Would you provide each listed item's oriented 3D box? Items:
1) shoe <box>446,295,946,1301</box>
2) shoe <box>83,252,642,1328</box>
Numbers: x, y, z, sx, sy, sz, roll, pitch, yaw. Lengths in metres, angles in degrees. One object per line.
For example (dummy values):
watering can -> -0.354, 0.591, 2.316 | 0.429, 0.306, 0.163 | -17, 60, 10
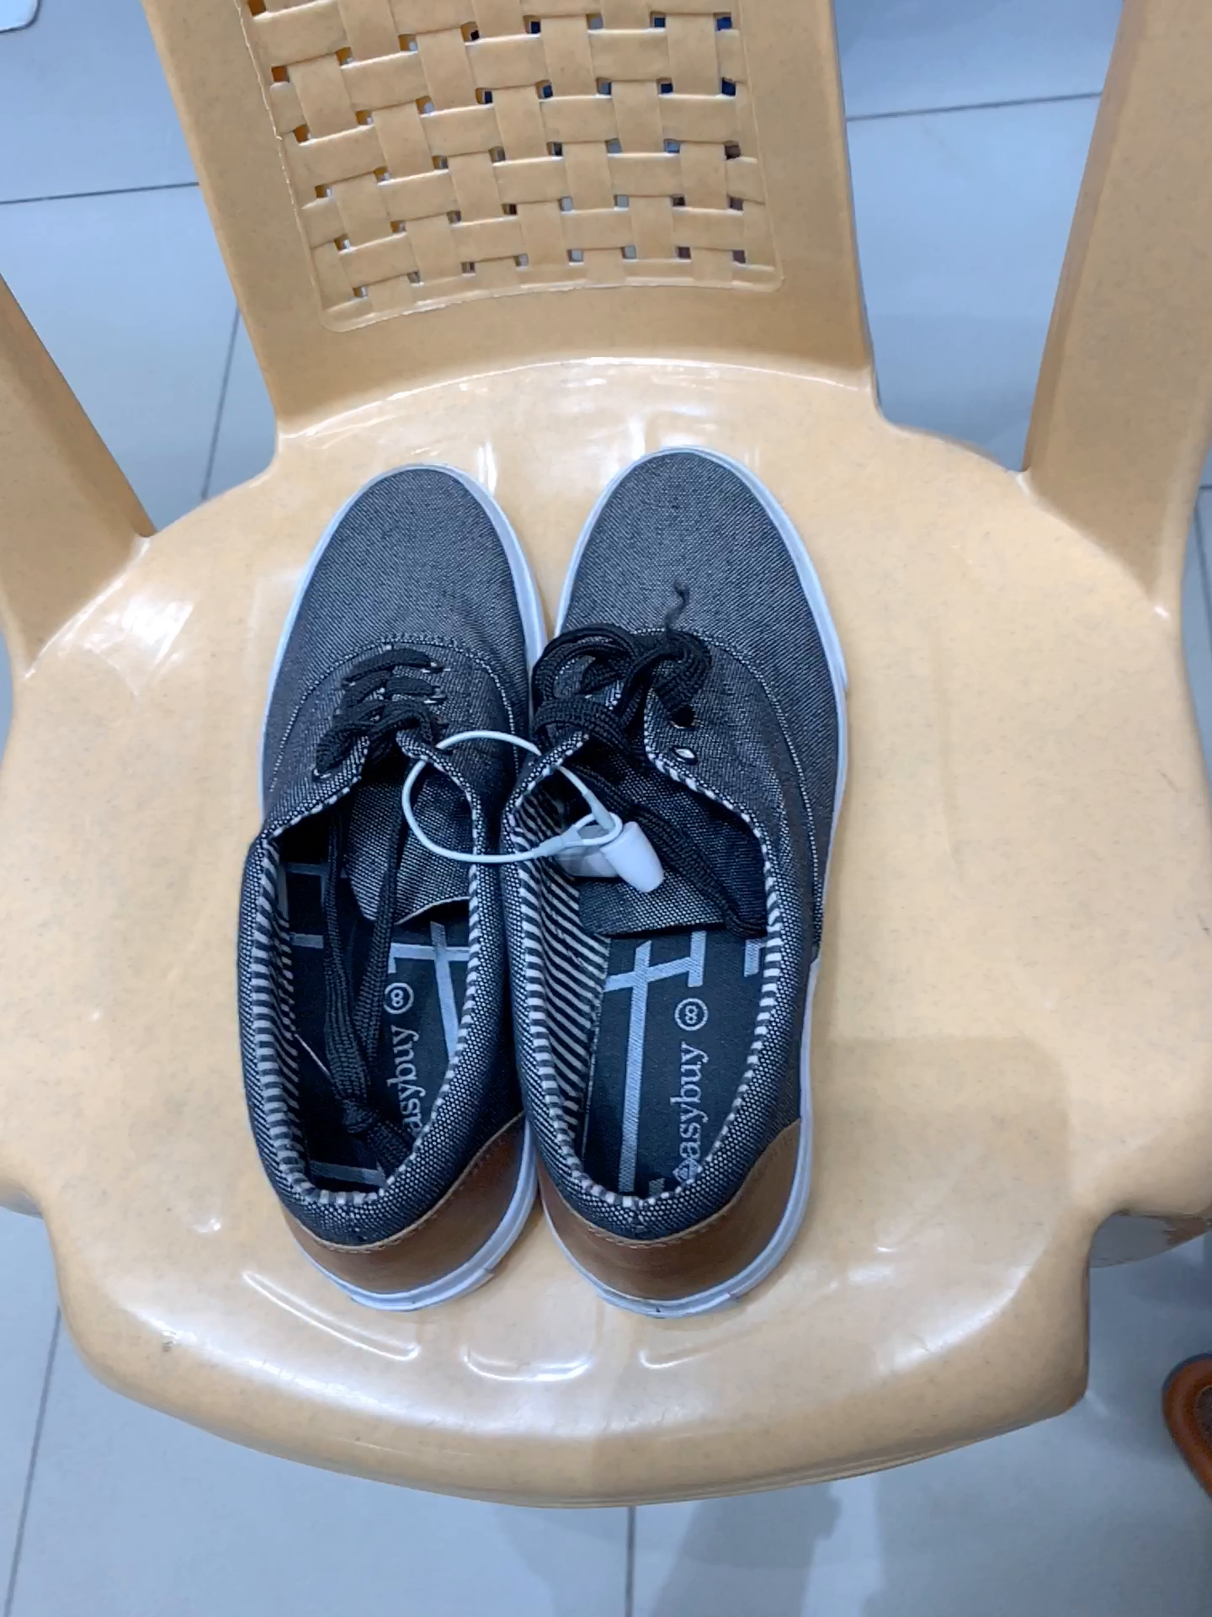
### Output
shoe -> 0.025, 0.000, 0.372 | 0.110, 0.110, 0.270 | -4, 69, 8
shoe -> -0.059, -0.003, 0.345 | 0.100, 0.110, 0.260 | -8, 69, 7
